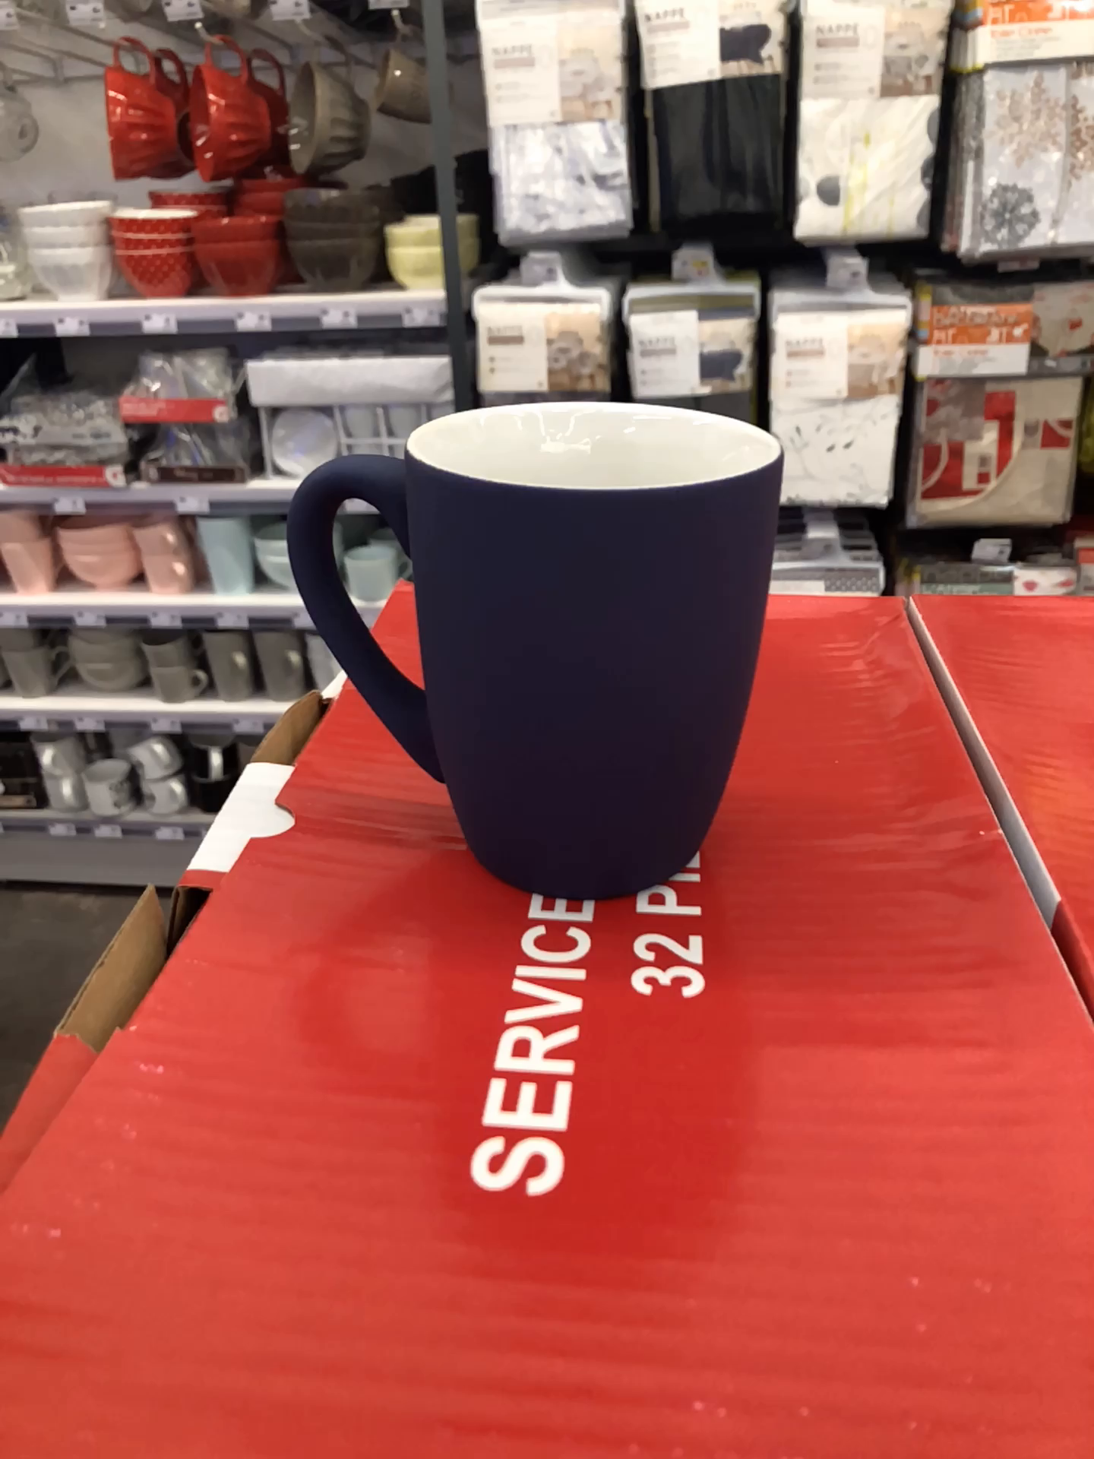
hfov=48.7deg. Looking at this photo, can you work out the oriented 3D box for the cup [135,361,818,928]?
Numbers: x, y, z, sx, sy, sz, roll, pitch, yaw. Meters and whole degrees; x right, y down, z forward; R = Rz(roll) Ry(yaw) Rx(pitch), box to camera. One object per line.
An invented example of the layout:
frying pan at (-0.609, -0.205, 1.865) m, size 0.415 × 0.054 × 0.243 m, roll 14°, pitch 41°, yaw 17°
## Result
cup at (-0.008, -0.027, 0.269) m, size 0.121 × 0.088 × 0.091 m, roll 7°, pitch 25°, yaw 12°
